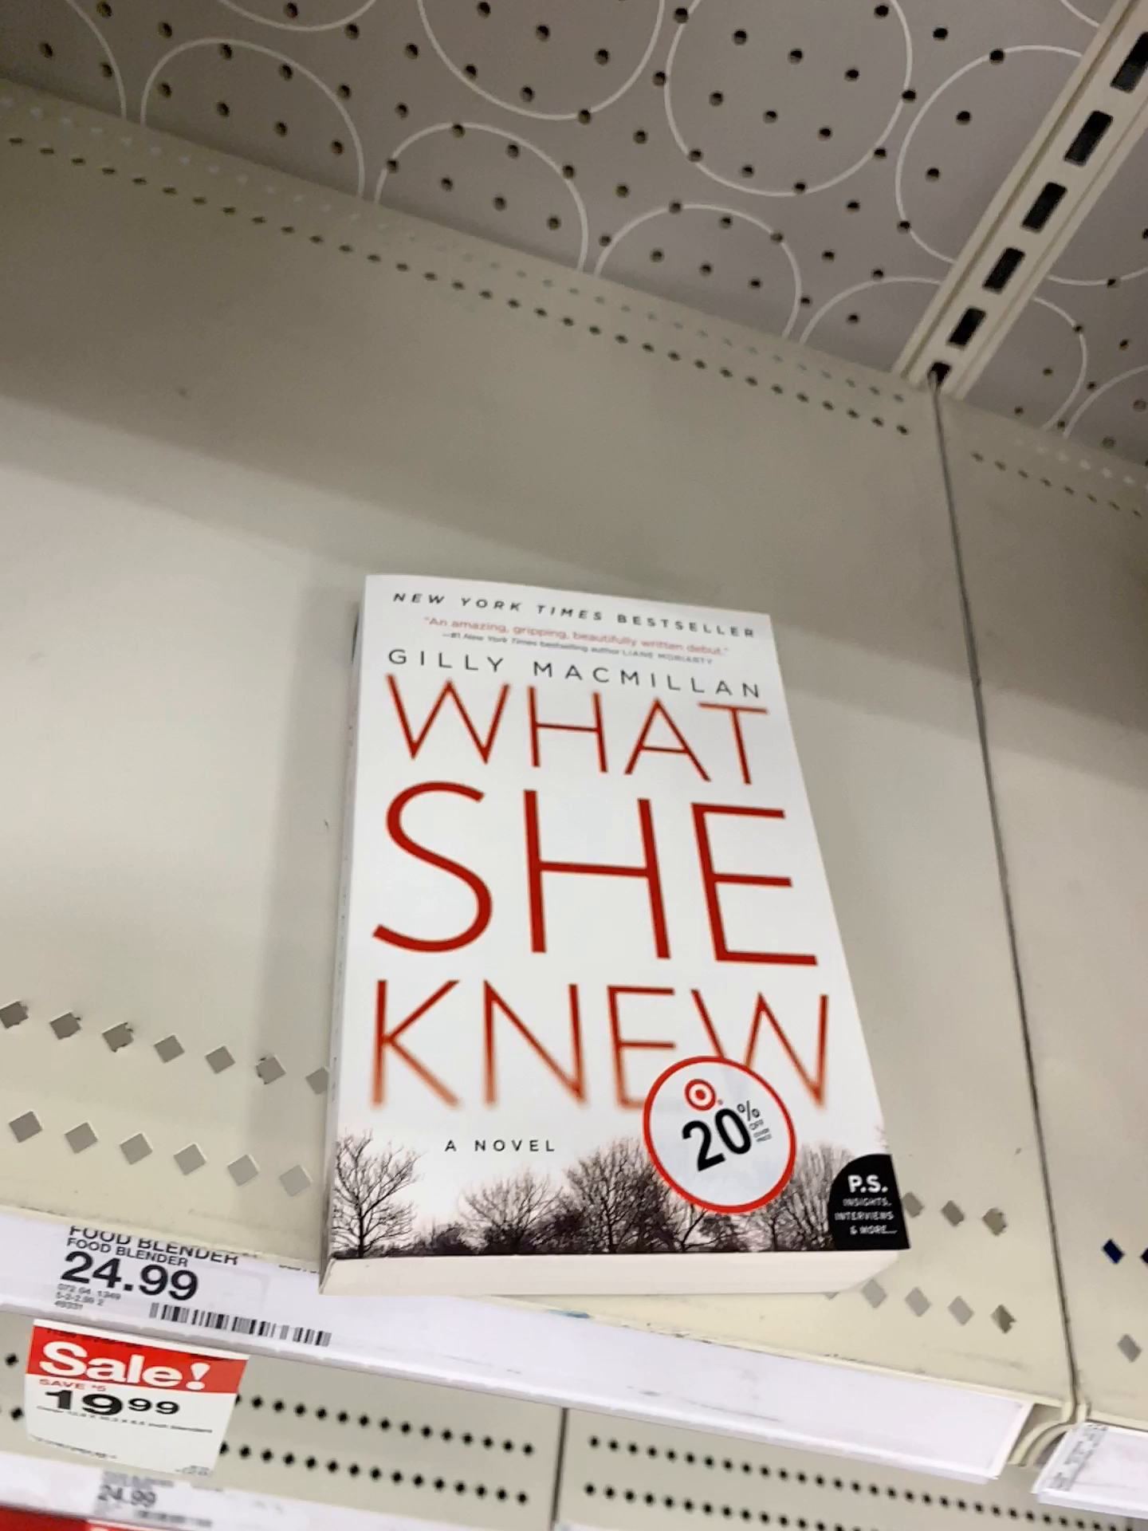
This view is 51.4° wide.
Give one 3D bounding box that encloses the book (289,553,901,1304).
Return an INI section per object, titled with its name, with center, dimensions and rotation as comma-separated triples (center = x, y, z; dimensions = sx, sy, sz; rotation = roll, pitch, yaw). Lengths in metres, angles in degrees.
[book]
center = -0.003, 0.034, 0.323
dimensions = 0.130, 0.041, 0.197
rotation = 5, 52, -13
